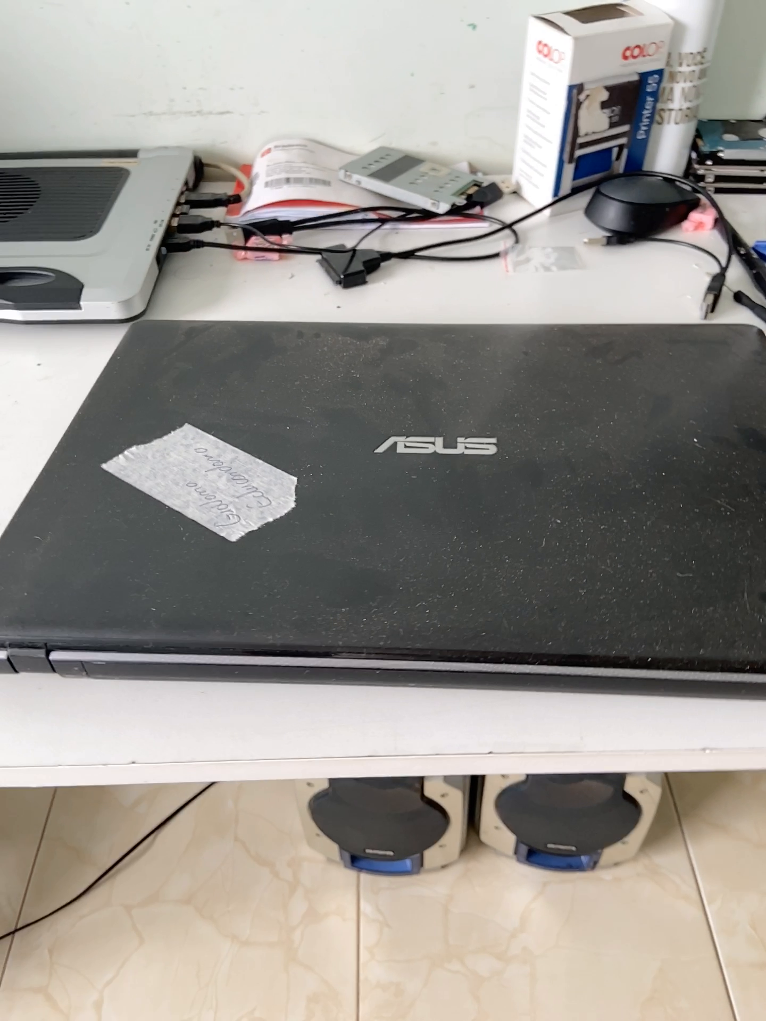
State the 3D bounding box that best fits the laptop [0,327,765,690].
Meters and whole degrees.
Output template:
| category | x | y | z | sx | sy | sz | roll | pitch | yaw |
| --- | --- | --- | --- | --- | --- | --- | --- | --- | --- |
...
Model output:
| category | x | y | z | sx | sy | sz | roll | pitch | yaw |
| --- | --- | --- | --- | --- | --- | --- | --- | --- | --- |
| laptop | 0.014 | -0.024 | 0.397 | 0.385 | 0.007 | 0.252 | 1 | 43 | 4 |
